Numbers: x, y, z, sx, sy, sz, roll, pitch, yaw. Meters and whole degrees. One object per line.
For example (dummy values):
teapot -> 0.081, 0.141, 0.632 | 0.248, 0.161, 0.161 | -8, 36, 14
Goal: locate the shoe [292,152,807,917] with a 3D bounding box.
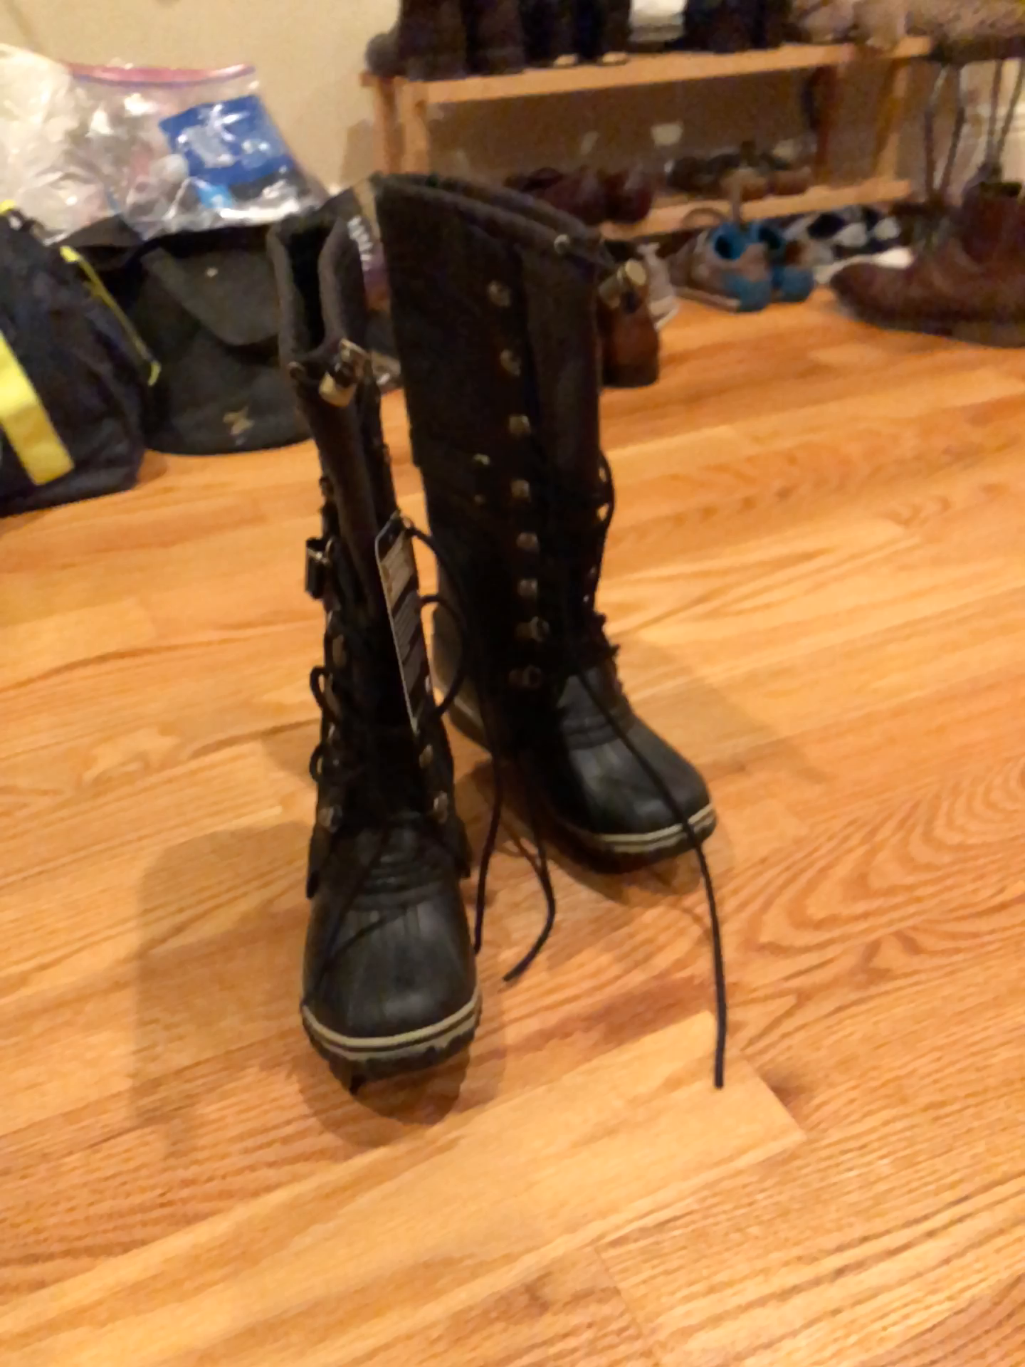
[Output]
shoe -> 0.009, -0.089, 0.613 | 0.100, 0.328, 0.261 | -23, 38, -29

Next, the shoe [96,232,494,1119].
shoe -> -0.085, -0.016, 0.525 | 0.100, 0.308, 0.262 | -7, 33, -6
